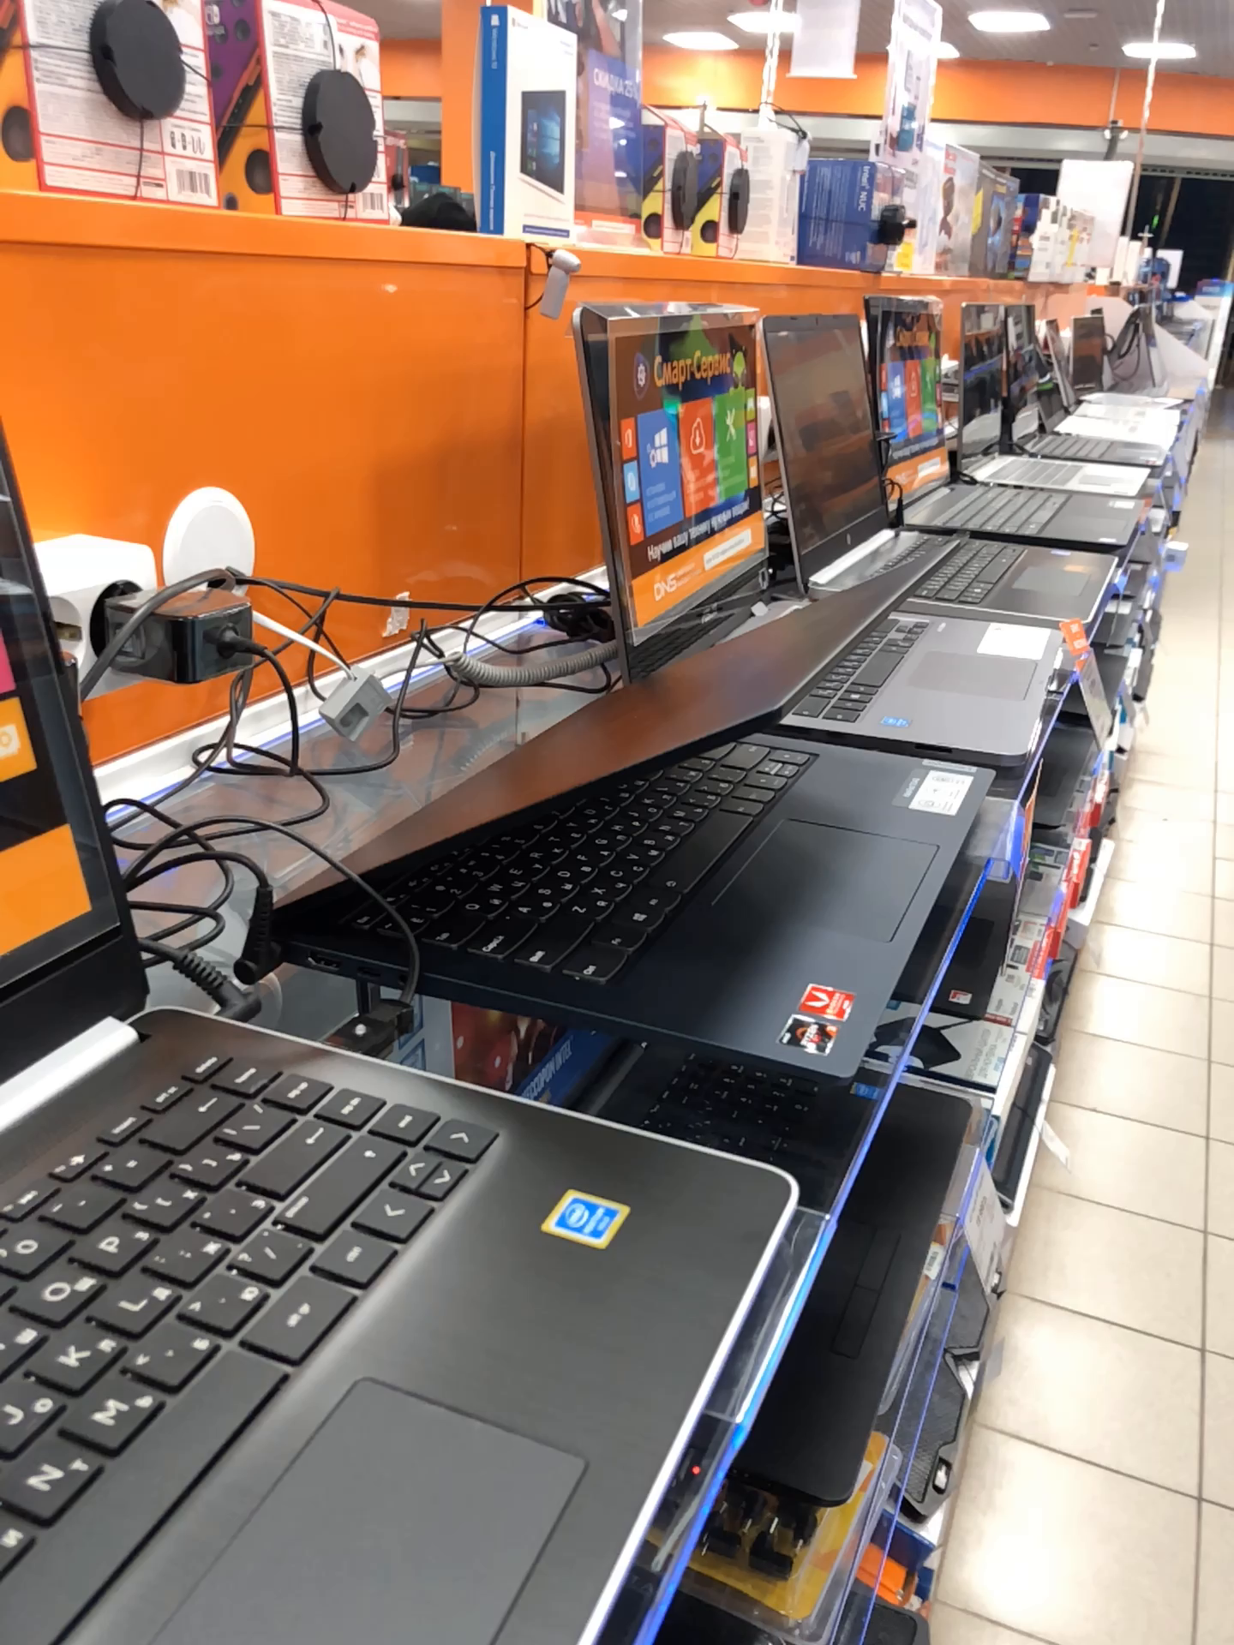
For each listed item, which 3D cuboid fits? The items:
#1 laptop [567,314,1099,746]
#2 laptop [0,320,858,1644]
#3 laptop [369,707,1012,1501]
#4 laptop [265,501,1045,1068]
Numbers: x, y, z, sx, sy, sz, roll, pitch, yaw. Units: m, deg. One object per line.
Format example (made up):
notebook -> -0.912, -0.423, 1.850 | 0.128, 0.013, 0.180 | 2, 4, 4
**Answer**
laptop -> 0.152, -0.206, 0.861 | 0.257, 0.203, 0.332 | 9, 22, 16
laptop -> -0.123, 0.029, 0.232 | 0.250, 0.200, 0.303 | 11, 23, 20
laptop -> 0.060, 0.118, 0.790 | 0.257, 0.227, 0.356 | 13, 25, 19
laptop -> 0.039, -0.045, 0.553 | 0.203, 0.108, 0.303 | 11, 24, 21
